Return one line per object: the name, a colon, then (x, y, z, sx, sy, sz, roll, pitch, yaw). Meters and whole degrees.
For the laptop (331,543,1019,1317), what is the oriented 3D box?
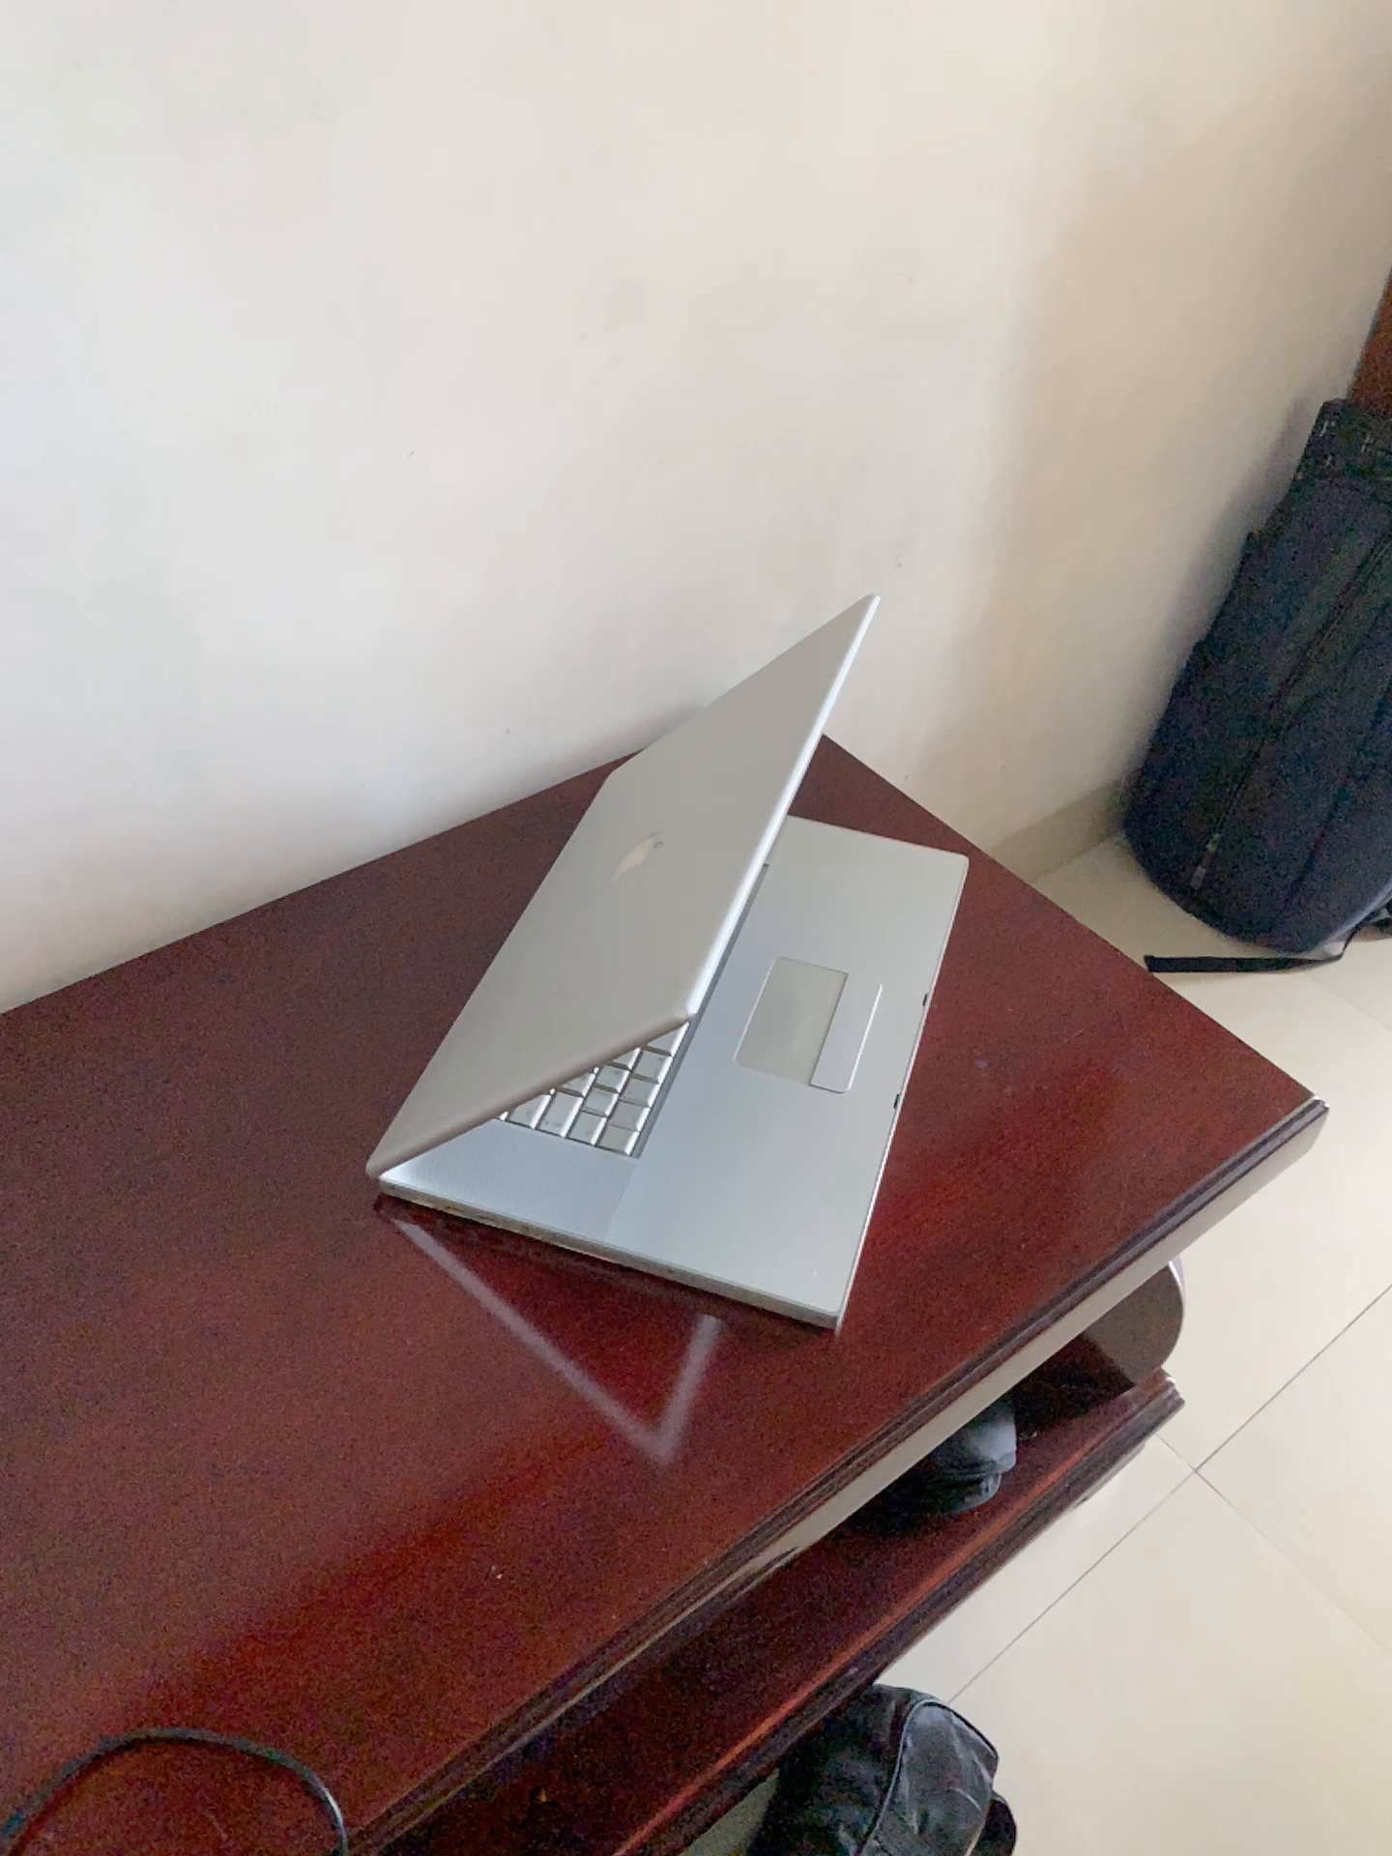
laptop: (0.014, -0.026, 0.842, 0.265, 0.193, 0.401, 14, 43, 10)
